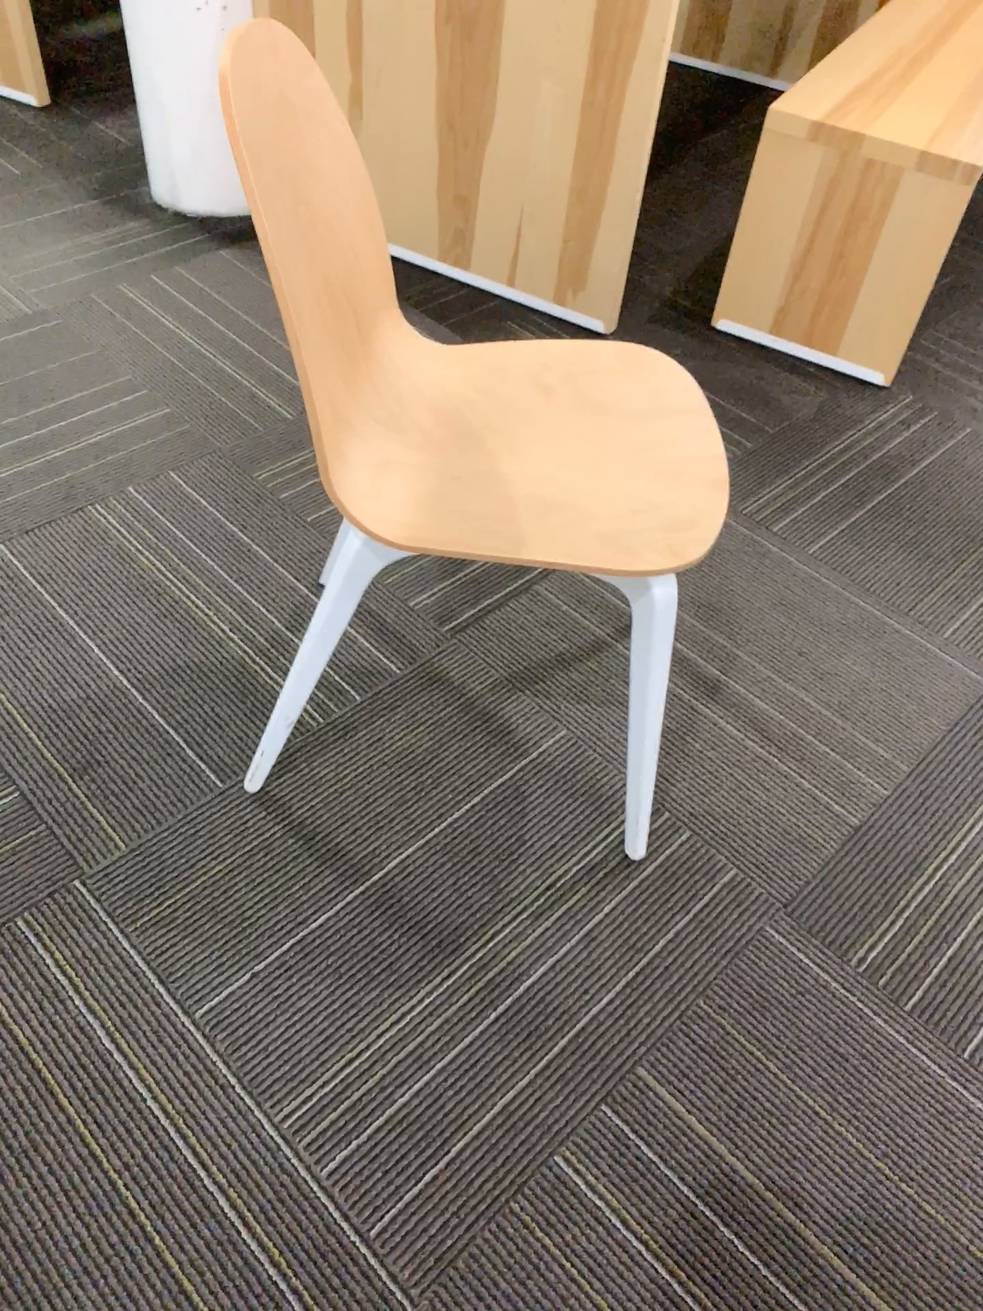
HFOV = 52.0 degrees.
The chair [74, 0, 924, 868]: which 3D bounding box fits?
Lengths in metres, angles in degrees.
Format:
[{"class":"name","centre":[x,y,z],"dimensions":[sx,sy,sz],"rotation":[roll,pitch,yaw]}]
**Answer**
[{"class":"chair","centre":[-0.003,-0.224,1.126],"dimensions":[0.570,0.826,0.462],"rotation":[9,47,2]}]
